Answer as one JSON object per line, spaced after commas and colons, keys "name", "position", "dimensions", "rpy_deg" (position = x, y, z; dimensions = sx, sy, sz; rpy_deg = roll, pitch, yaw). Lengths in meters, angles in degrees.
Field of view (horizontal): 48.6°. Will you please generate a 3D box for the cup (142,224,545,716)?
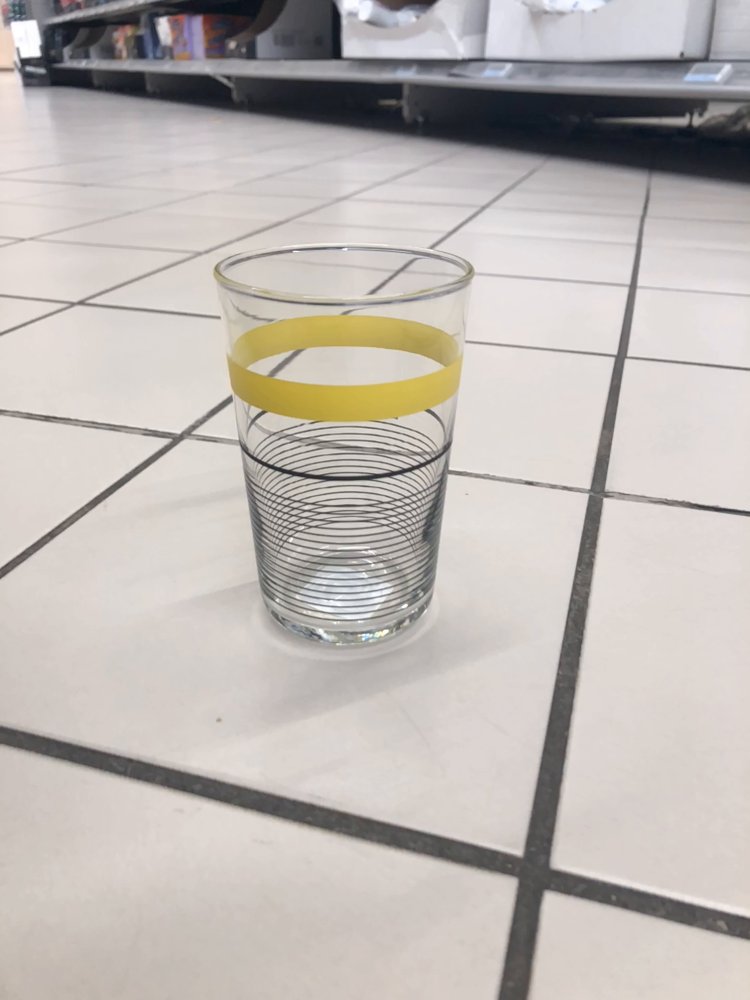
{"name": "cup", "position": [-0.007, -0.017, 0.251], "dimensions": [0.079, 0.114, 0.077], "rpy_deg": [-1, 25, 1]}
